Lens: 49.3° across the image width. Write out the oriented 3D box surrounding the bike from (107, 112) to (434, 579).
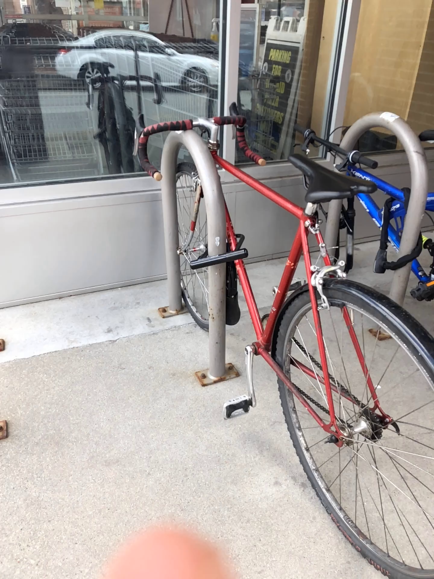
[{"bbox_3d":[0.109,0.053,1.486,0.459,0.787,1.697,-11,34,-21],"label":"bike"}]
